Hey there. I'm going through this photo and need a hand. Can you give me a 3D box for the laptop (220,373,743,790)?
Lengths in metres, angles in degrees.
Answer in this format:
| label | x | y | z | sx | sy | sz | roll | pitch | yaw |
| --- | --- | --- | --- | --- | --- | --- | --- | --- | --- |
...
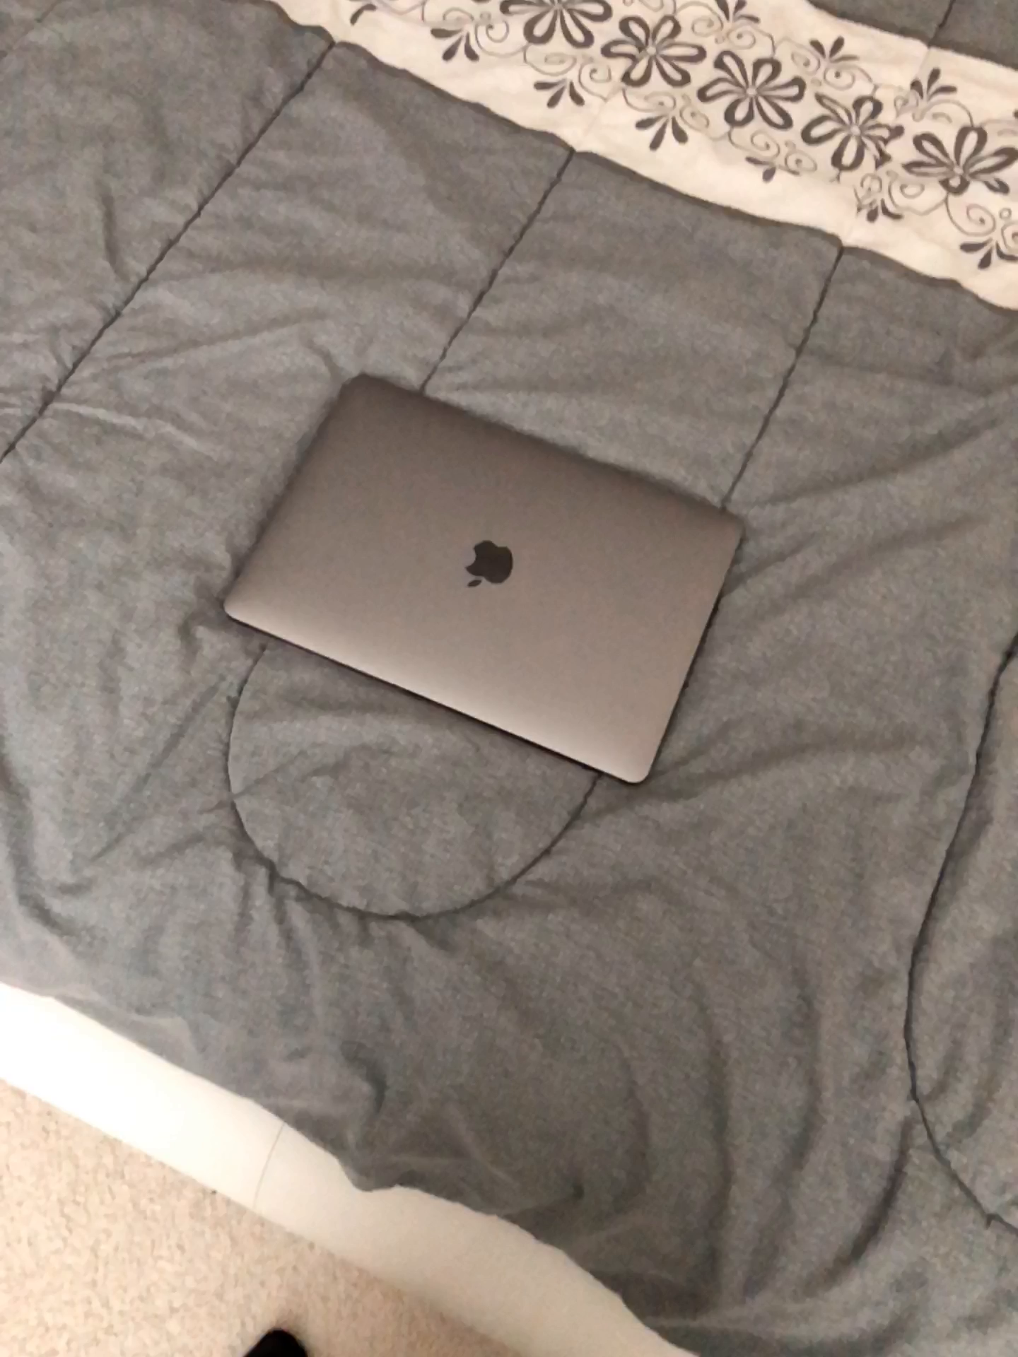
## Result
| label | x | y | z | sx | sy | sz | roll | pitch | yaw |
| --- | --- | --- | --- | --- | --- | --- | --- | --- | --- |
| laptop | -0.014 | -0.075 | 0.762 | 0.295 | 0.008 | 0.207 | 22 | 70 | 6 |
